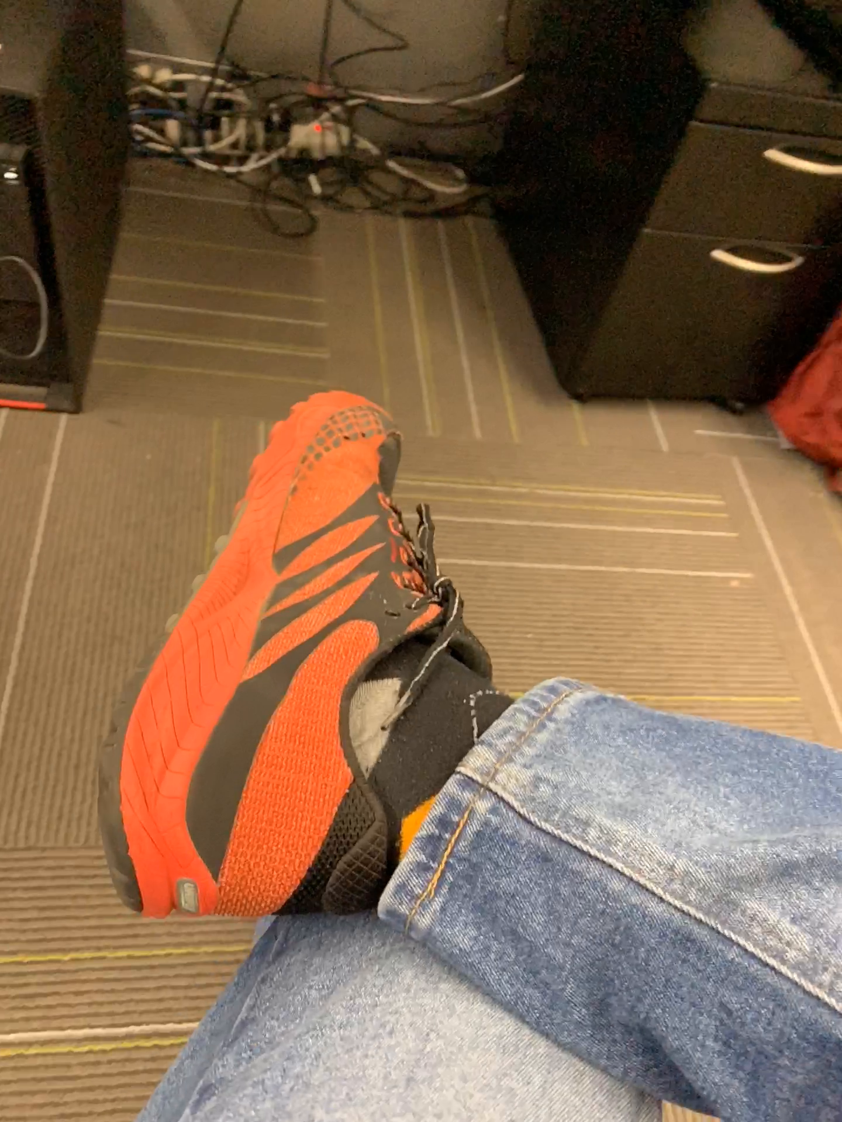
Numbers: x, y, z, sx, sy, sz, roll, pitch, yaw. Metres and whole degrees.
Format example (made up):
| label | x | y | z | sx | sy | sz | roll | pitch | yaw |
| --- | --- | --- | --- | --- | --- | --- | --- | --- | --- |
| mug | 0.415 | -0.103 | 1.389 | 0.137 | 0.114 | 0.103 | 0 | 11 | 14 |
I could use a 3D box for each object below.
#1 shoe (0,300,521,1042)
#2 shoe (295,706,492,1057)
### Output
| label | x | y | z | sx | sy | sz | roll | pitch | yaw |
| --- | --- | --- | --- | --- | --- | --- | --- | --- | --- |
| shoe | -0.044 | 0.025 | 0.412 | 0.145 | 0.110 | 0.322 | 10 | 49 | 0 |
| shoe | -0.019 | 0.321 | 0.910 | 0.117 | 0.067 | 0.319 | 21 | 51 | -4 |
